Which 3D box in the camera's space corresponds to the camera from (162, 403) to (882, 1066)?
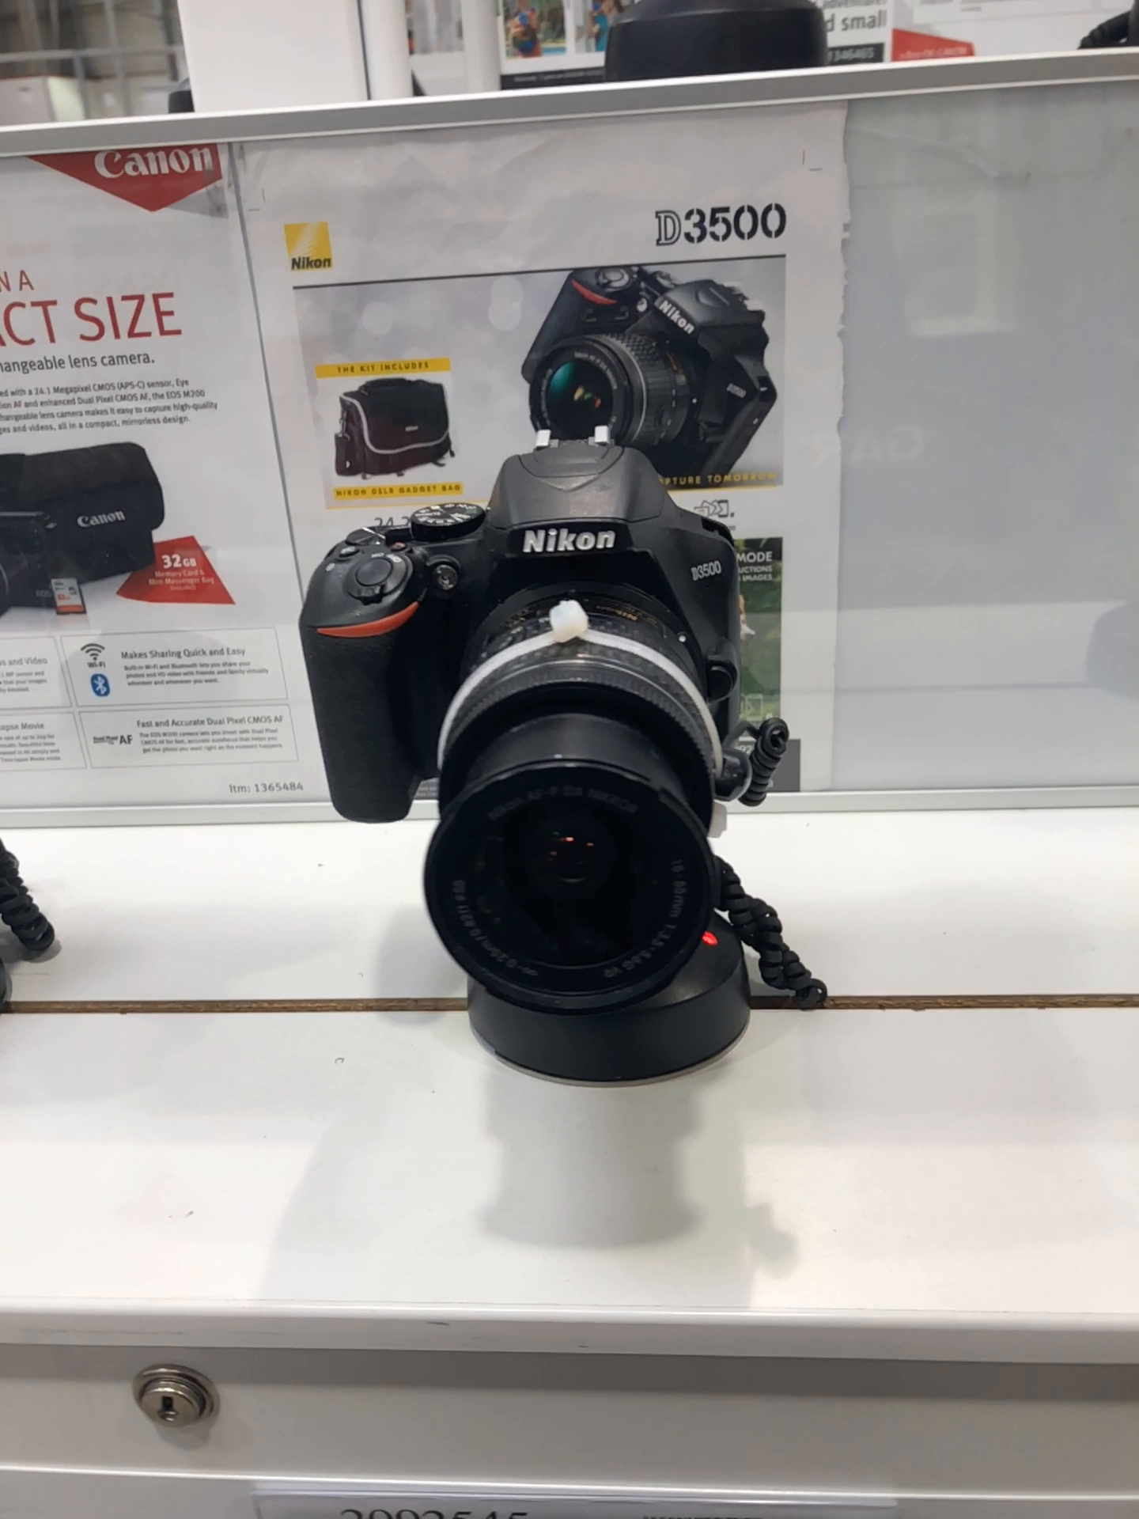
[{"bbox_3d":[-0.006,-0.023,0.354,0.140,0.110,0.191,-3,25,2],"label":"camera"}]
